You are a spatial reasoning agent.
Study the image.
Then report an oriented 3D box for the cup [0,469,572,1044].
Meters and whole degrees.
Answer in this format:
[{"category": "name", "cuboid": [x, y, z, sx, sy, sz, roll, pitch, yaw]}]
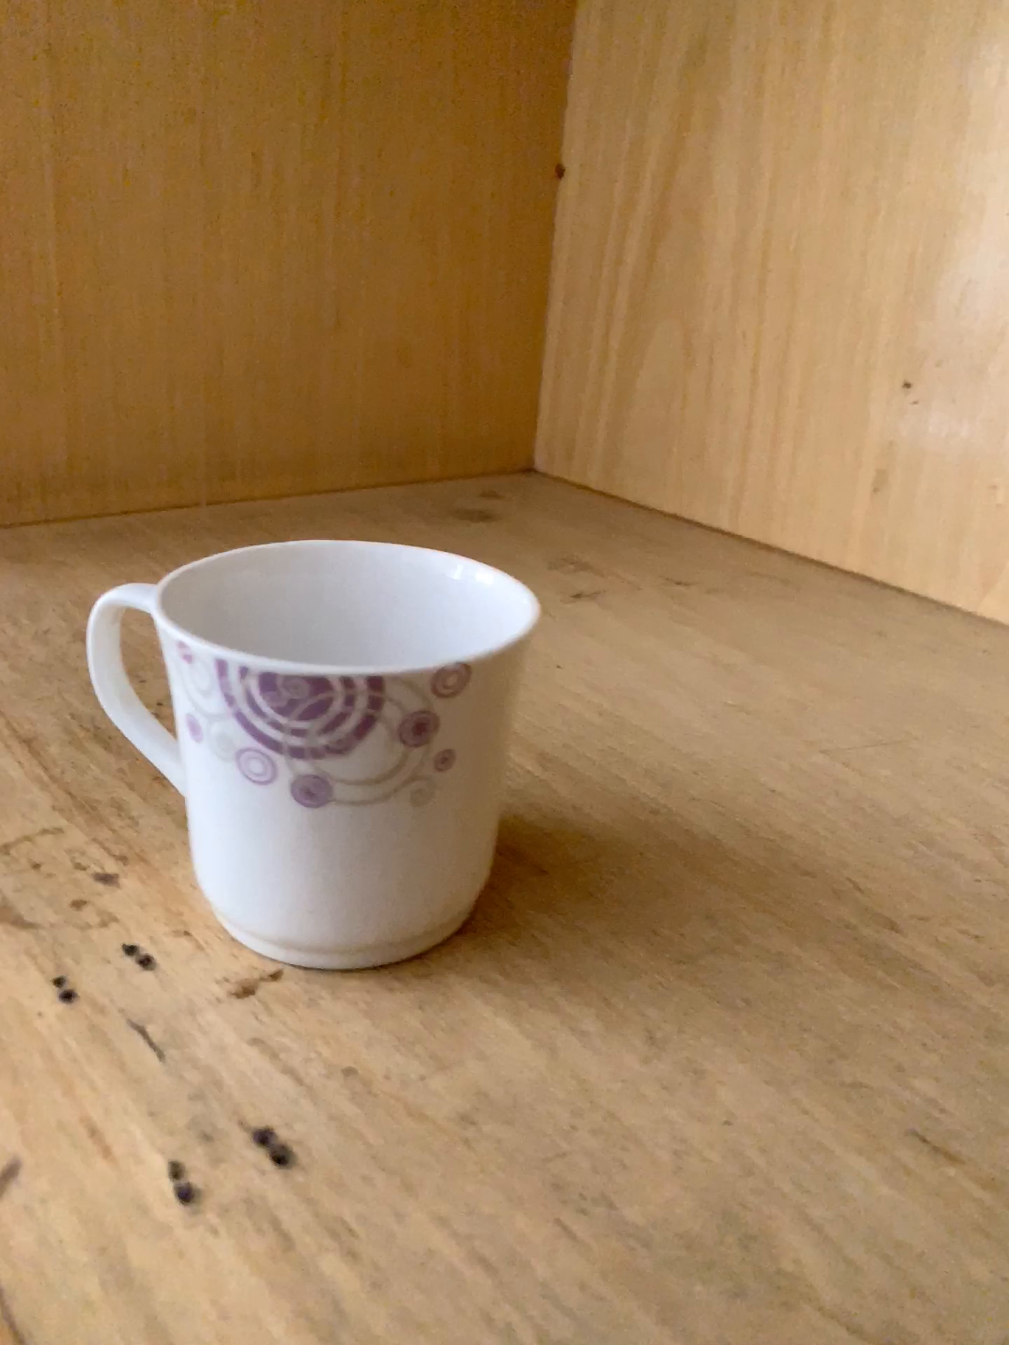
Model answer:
[{"category": "cup", "cuboid": [-0.044, 0.008, 0.204, 0.090, 0.070, 0.070, 12, 24, 17]}]
